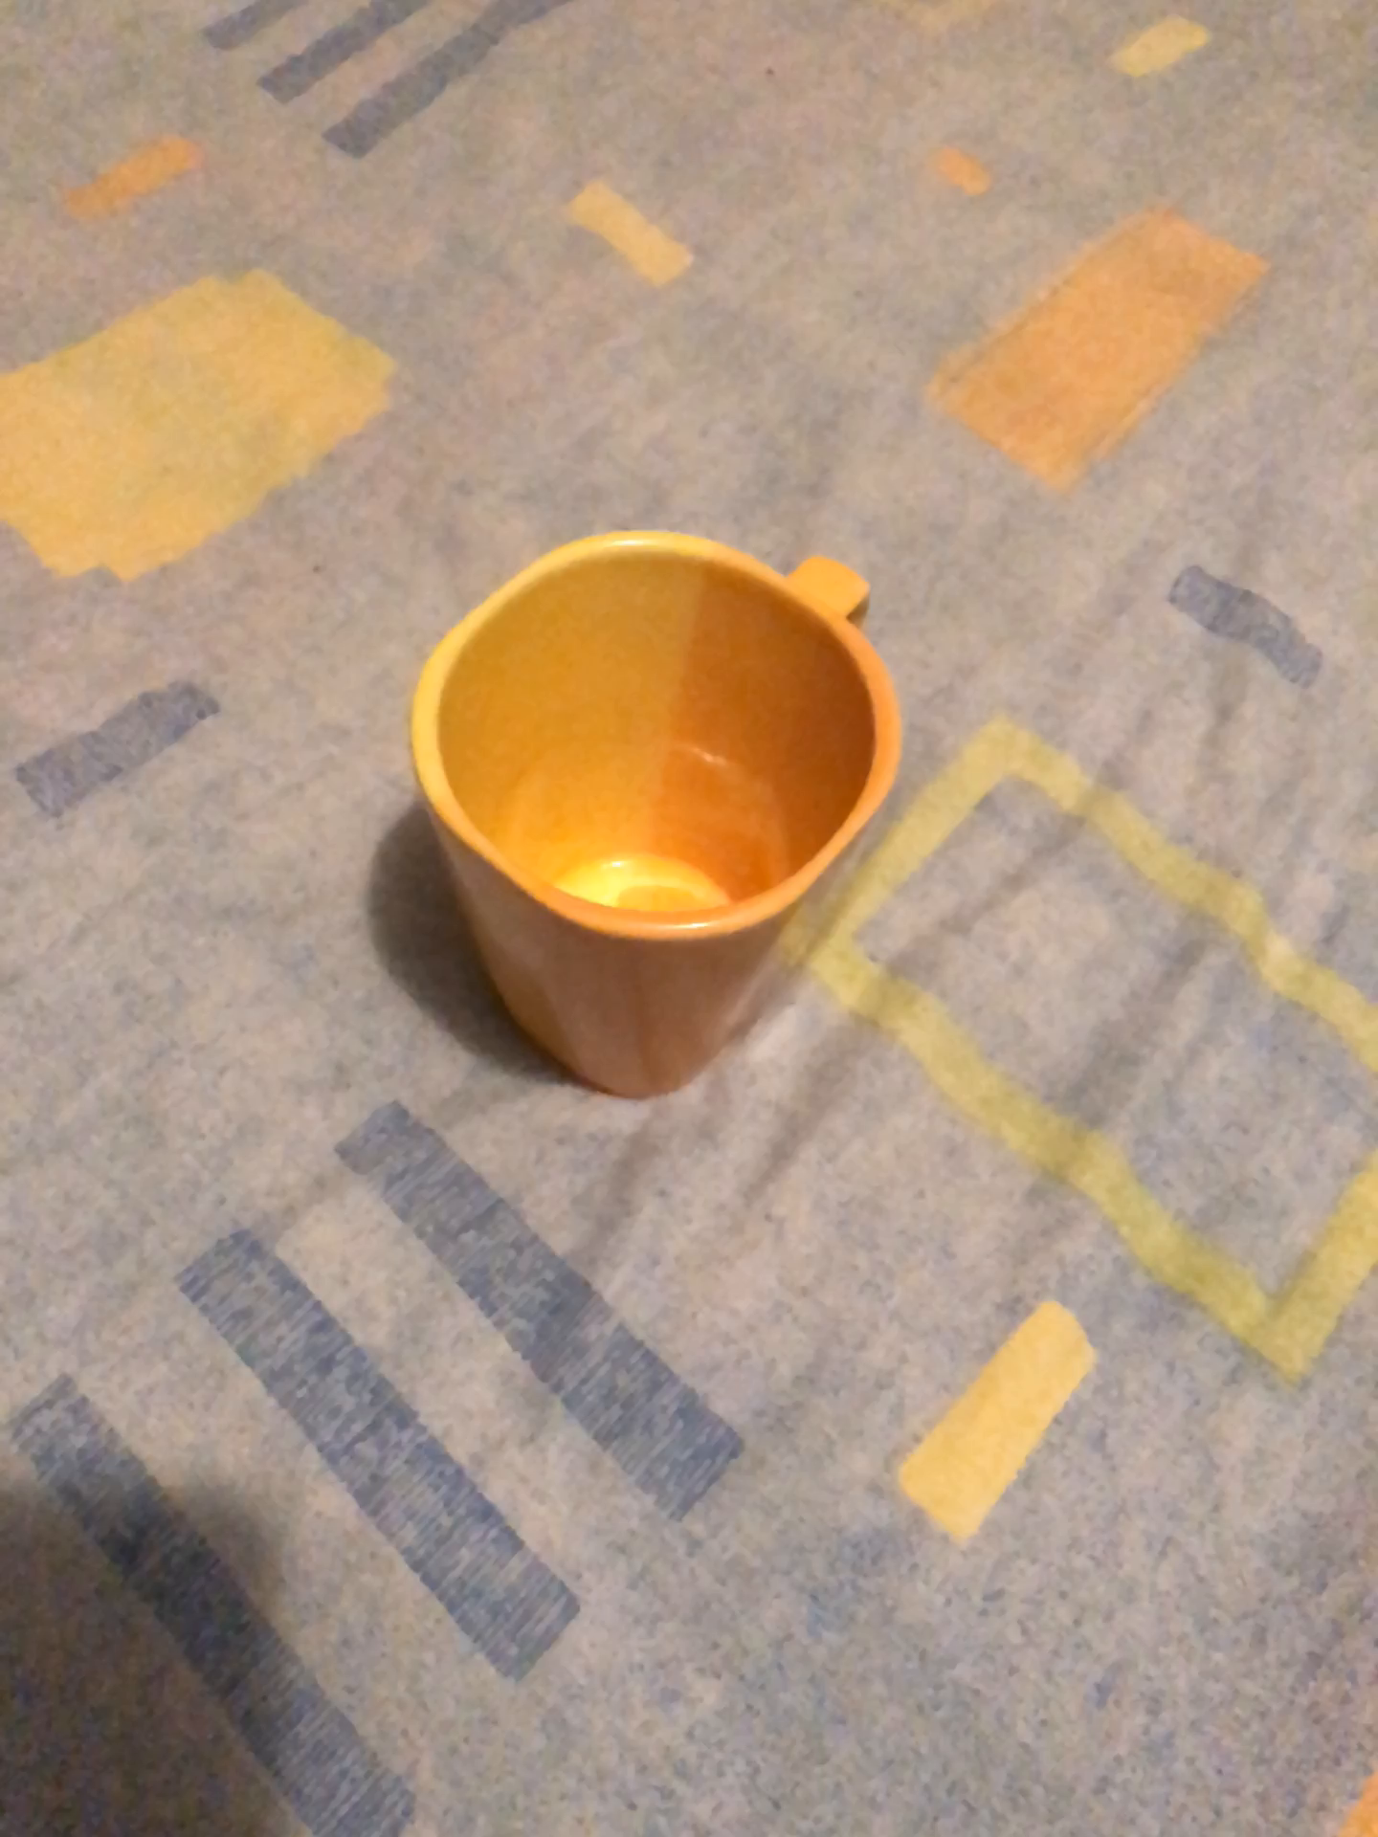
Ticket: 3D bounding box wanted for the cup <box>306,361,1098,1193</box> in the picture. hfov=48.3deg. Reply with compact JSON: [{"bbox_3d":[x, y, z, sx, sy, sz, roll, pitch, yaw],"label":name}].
[{"bbox_3d":[0.002,-0.027,0.299,0.084,0.082,0.111,38,65,15],"label":"cup"}]
